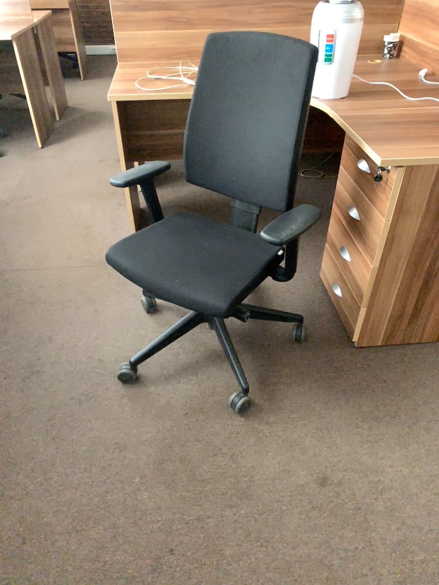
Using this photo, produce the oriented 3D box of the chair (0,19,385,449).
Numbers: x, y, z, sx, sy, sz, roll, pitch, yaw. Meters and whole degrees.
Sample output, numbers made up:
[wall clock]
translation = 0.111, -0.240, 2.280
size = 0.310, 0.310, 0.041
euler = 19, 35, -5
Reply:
[chair]
translation = -0.056, -0.241, 1.380
size = 0.671, 0.915, 0.793
euler = 23, 44, 27
